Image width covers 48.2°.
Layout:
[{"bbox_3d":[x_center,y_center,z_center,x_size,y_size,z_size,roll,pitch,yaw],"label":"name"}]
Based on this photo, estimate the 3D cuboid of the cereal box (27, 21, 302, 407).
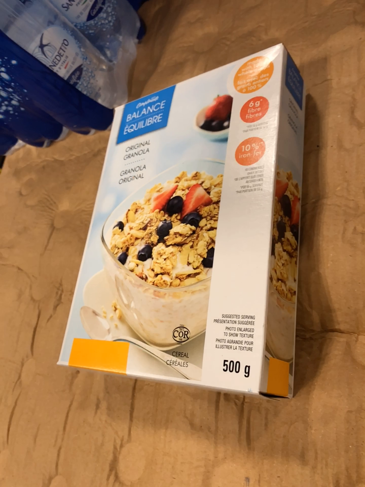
[{"bbox_3d":[-0.011,-0.023,0.313,0.181,0.050,0.250,-6,66,35],"label":"cereal box"}]
